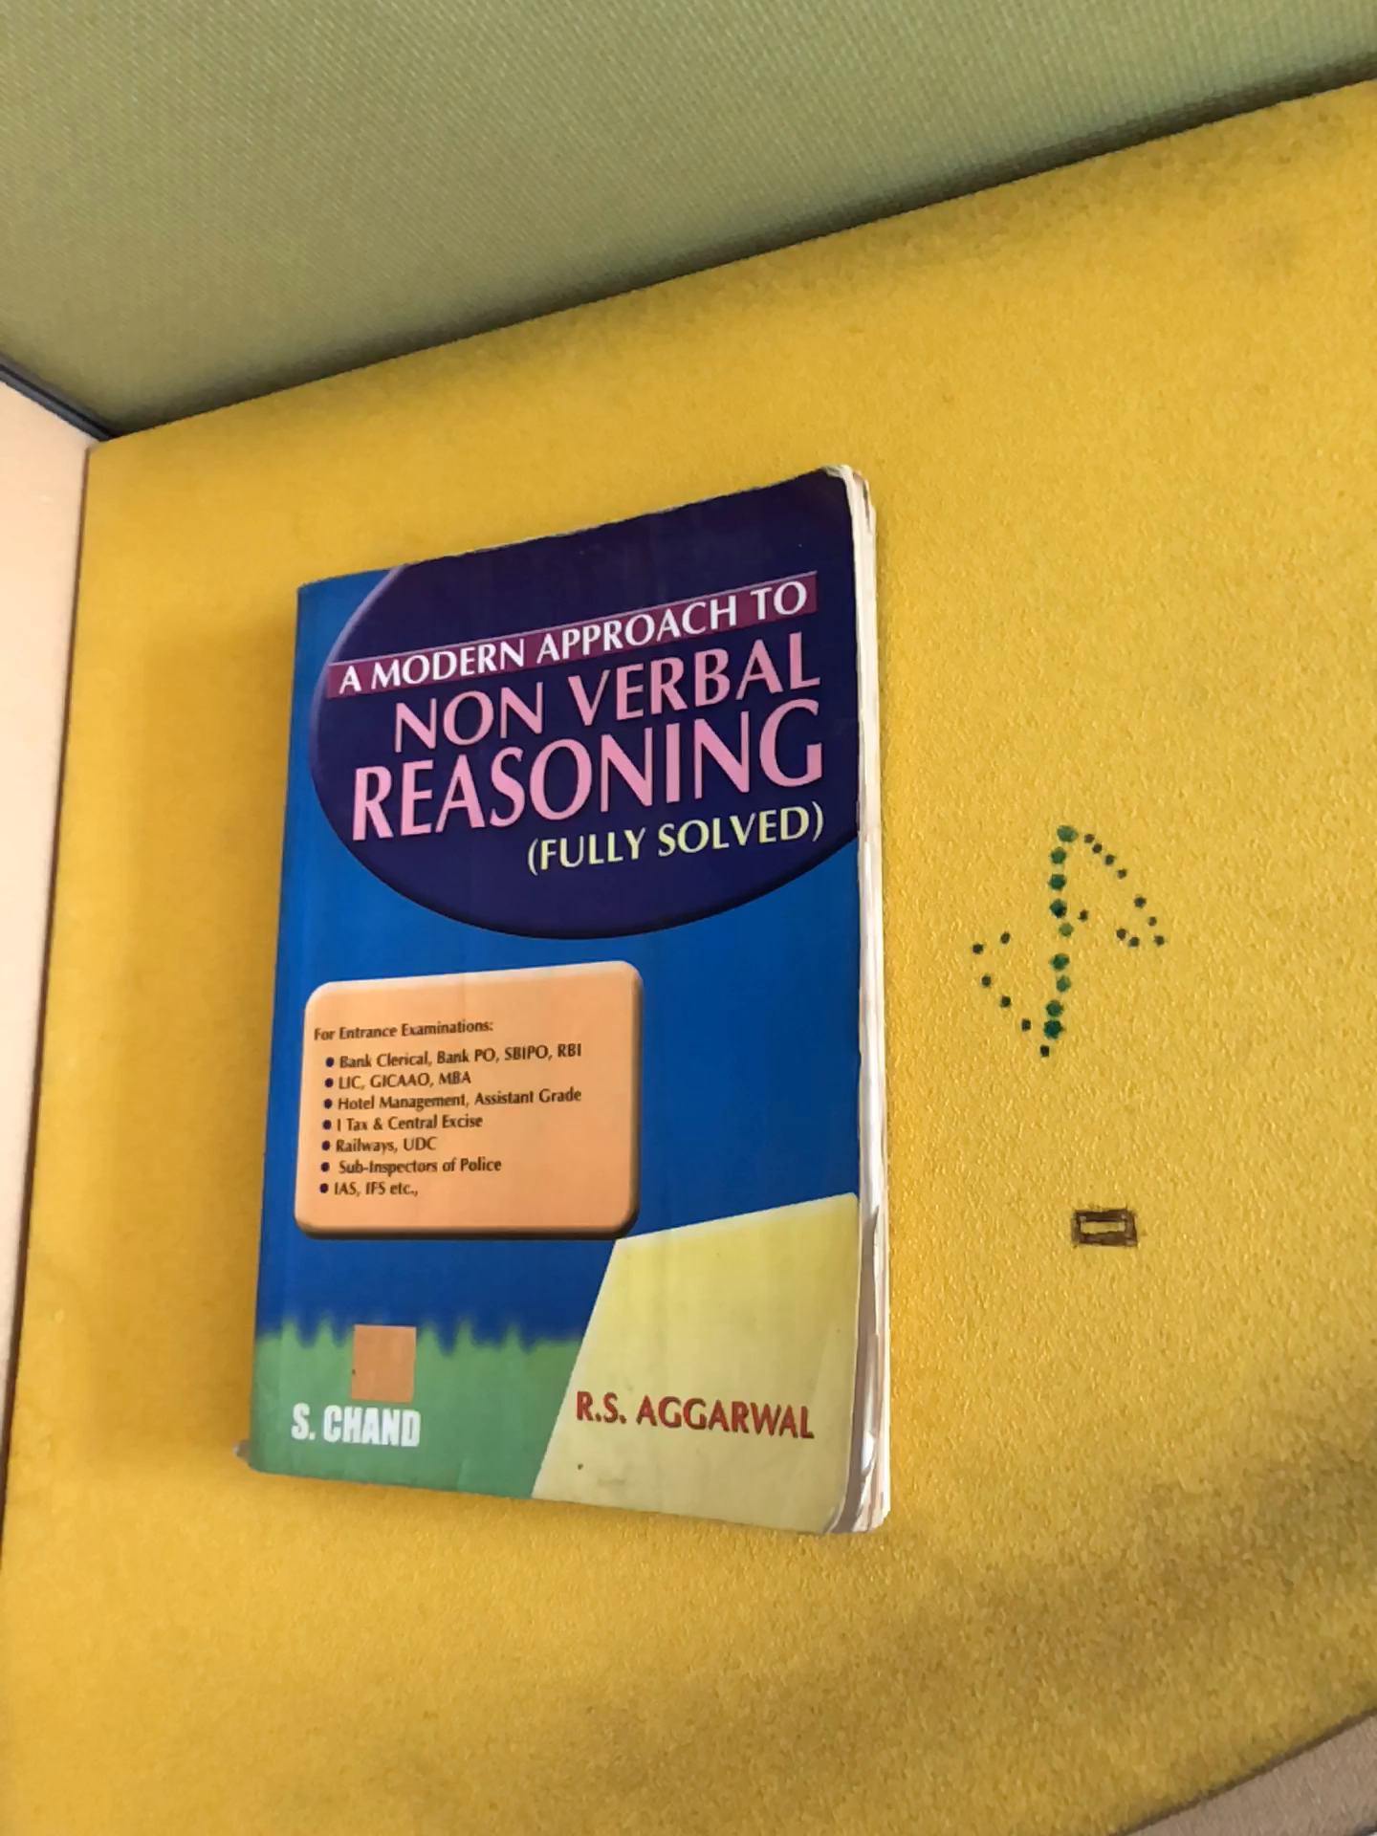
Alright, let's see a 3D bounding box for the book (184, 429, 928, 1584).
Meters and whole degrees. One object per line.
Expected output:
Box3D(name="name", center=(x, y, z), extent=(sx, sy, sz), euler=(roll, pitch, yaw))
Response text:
Box3D(name="book", center=(-0.034, 0.020, 0.368), extent=(0.170, 0.040, 0.240), euler=(-5, 77, 25))
